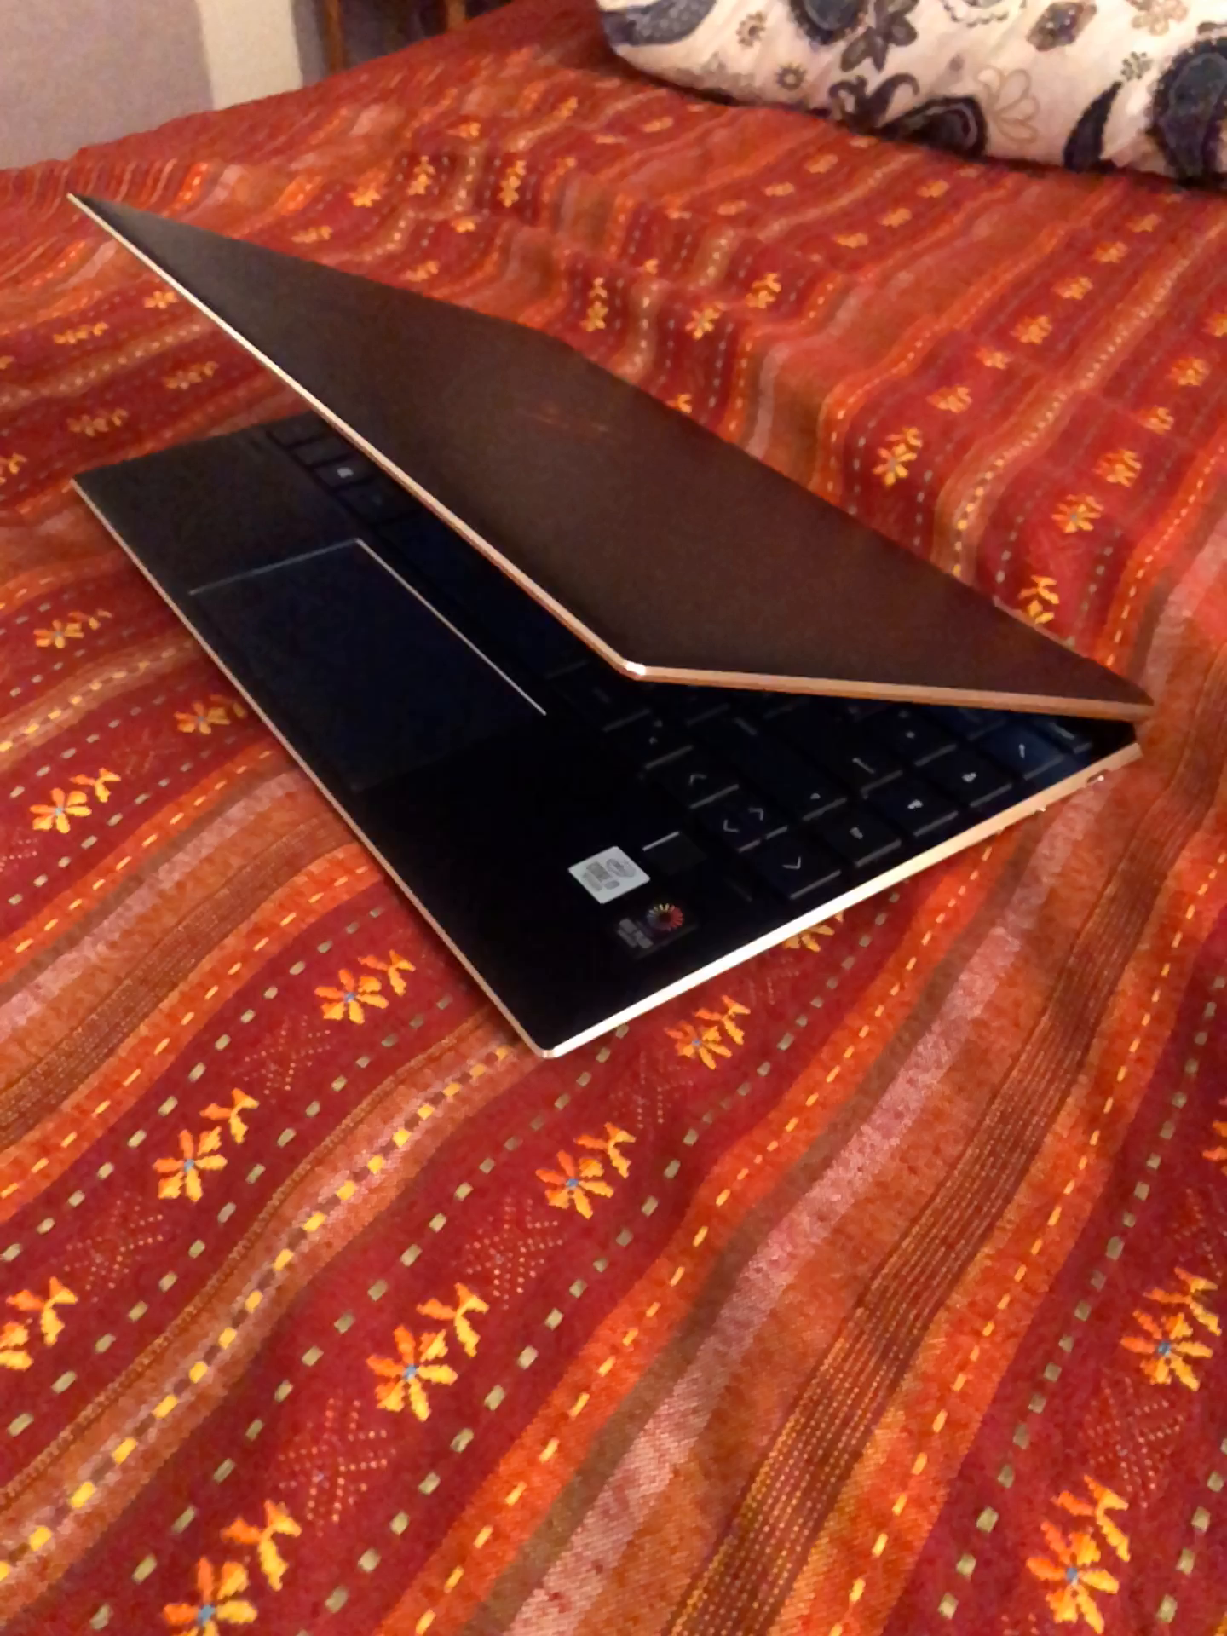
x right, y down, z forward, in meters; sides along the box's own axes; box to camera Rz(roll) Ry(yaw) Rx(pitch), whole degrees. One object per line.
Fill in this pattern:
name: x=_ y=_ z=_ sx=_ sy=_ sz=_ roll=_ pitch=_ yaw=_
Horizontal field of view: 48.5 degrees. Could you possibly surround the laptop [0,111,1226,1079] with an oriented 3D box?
laptop: x=-0.024 y=-0.112 z=0.395 sx=0.203 sy=0.101 sz=0.326 roll=-22 pitch=43 yaw=-28
